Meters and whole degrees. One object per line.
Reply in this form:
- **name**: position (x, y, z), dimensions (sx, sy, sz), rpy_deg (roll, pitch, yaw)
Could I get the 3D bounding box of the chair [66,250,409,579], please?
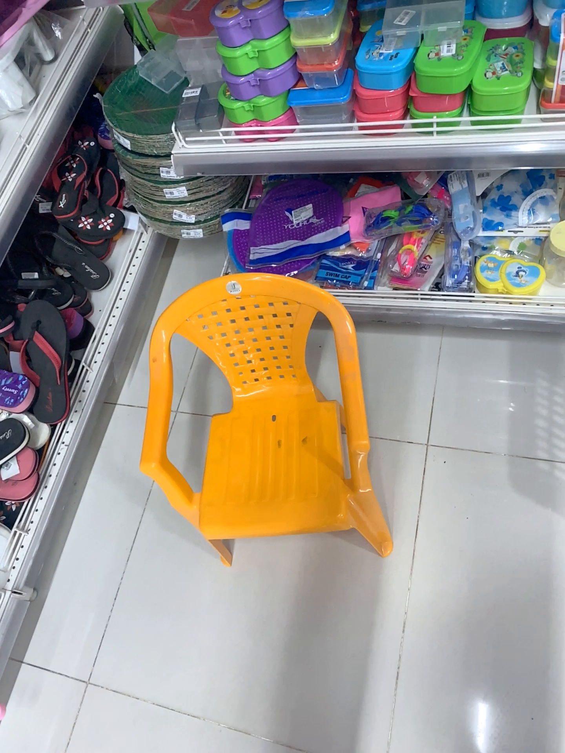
- **chair**: position (-0.024, 0.109, 0.965), dimensions (0.400, 0.459, 0.360), rpy_deg (-7, 62, 13)
